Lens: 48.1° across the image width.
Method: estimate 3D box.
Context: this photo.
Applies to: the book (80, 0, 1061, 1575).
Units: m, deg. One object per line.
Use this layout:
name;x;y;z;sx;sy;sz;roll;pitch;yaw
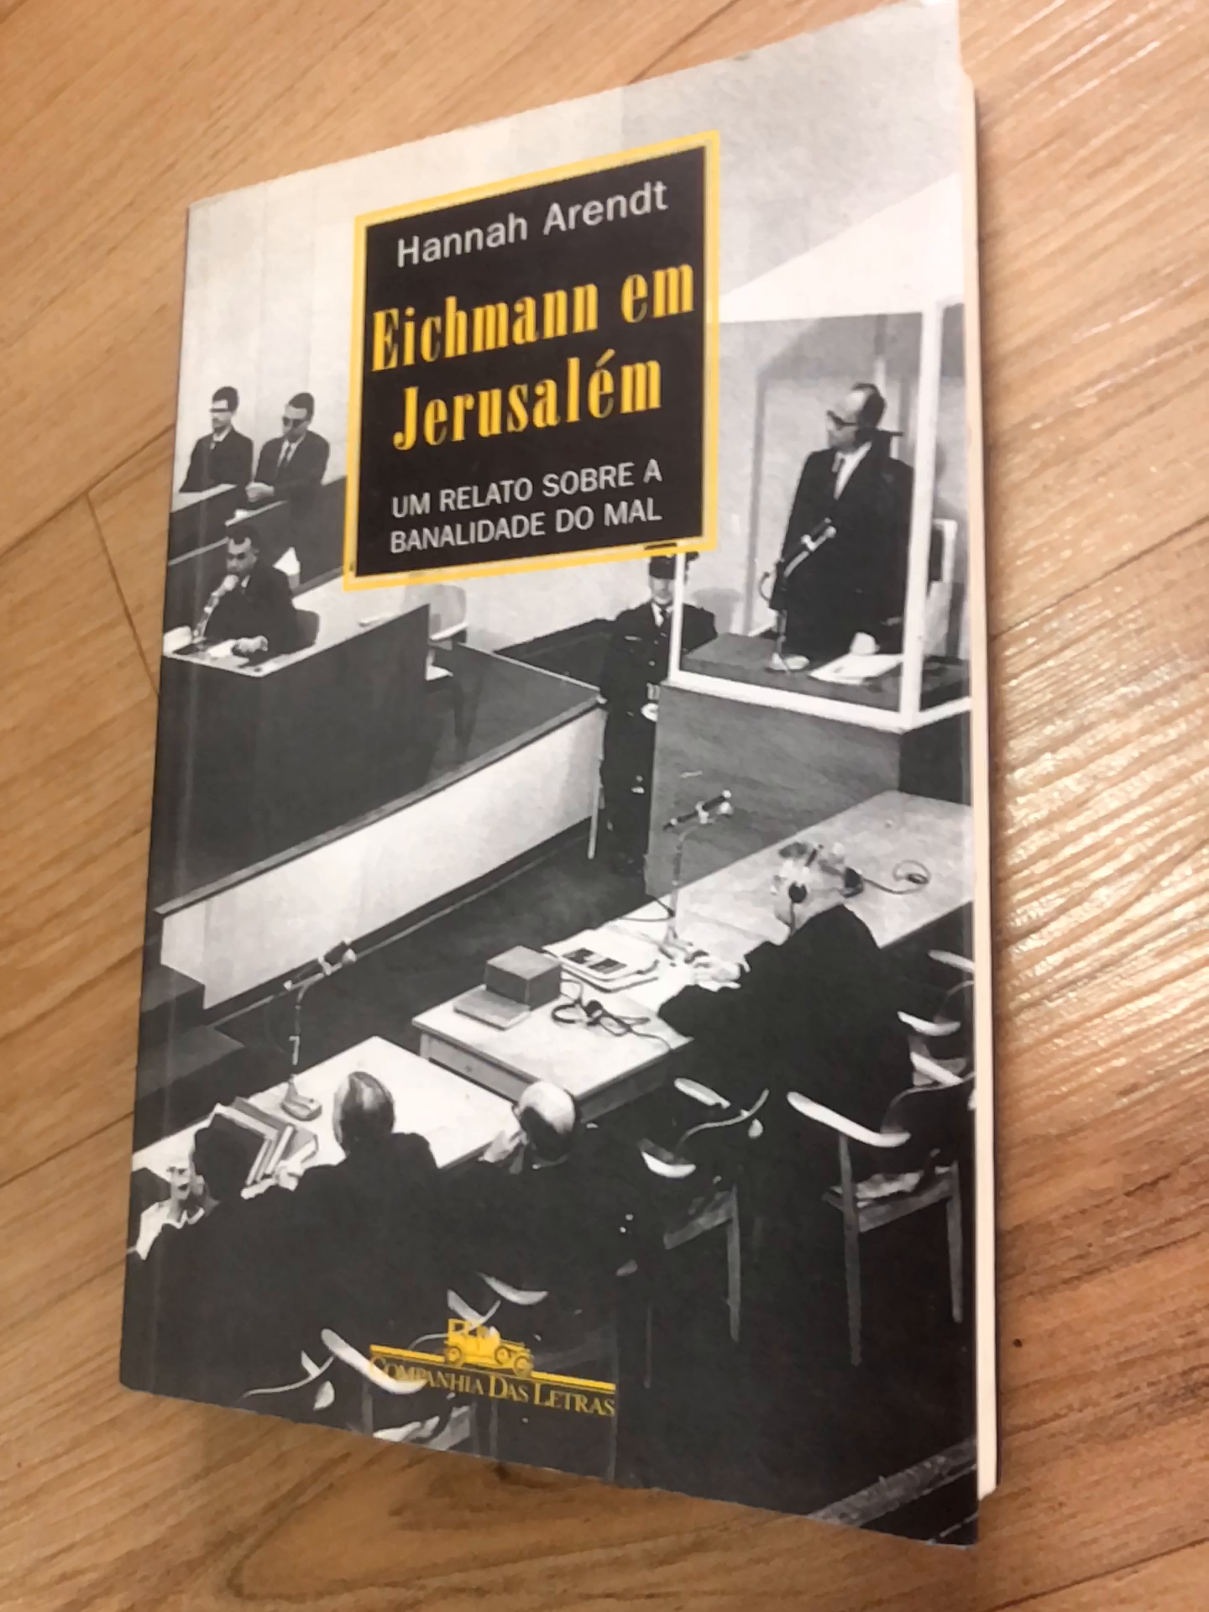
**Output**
book;-0.010;-0.009;0.207;0.144;0.023;0.202;-2;82;24
